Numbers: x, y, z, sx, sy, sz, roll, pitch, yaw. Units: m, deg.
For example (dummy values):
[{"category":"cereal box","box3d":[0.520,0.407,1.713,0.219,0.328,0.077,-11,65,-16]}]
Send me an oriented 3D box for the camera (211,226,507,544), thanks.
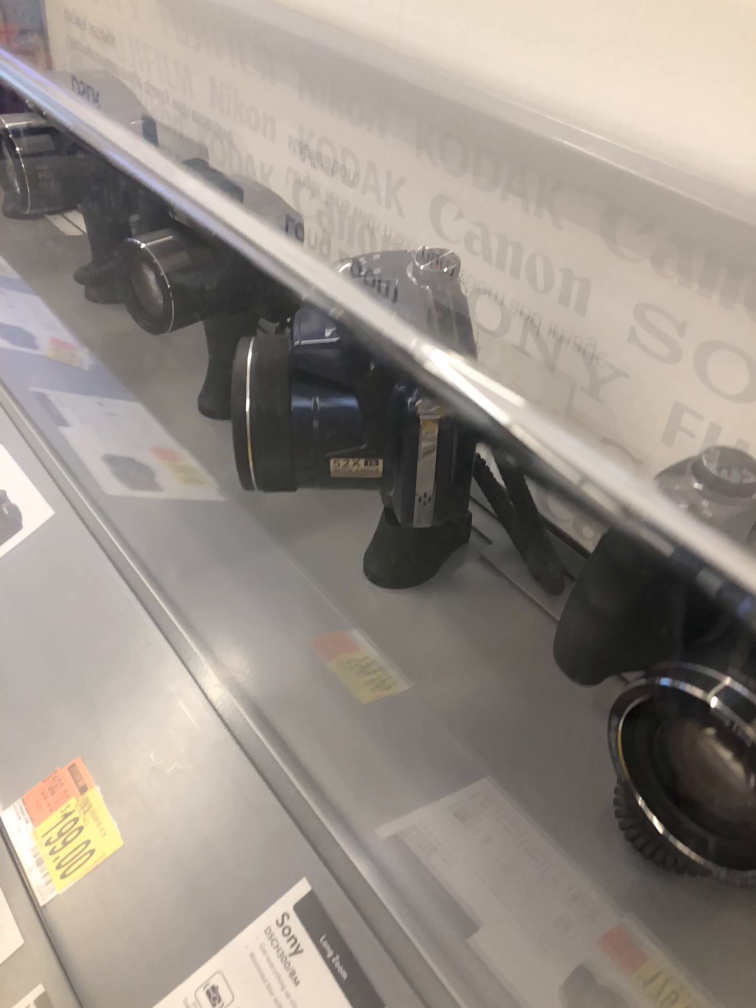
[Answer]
[{"category":"camera","box3d":[-0.014,-0.058,0.385,0.110,0.080,0.131,4,40,-7]}]
